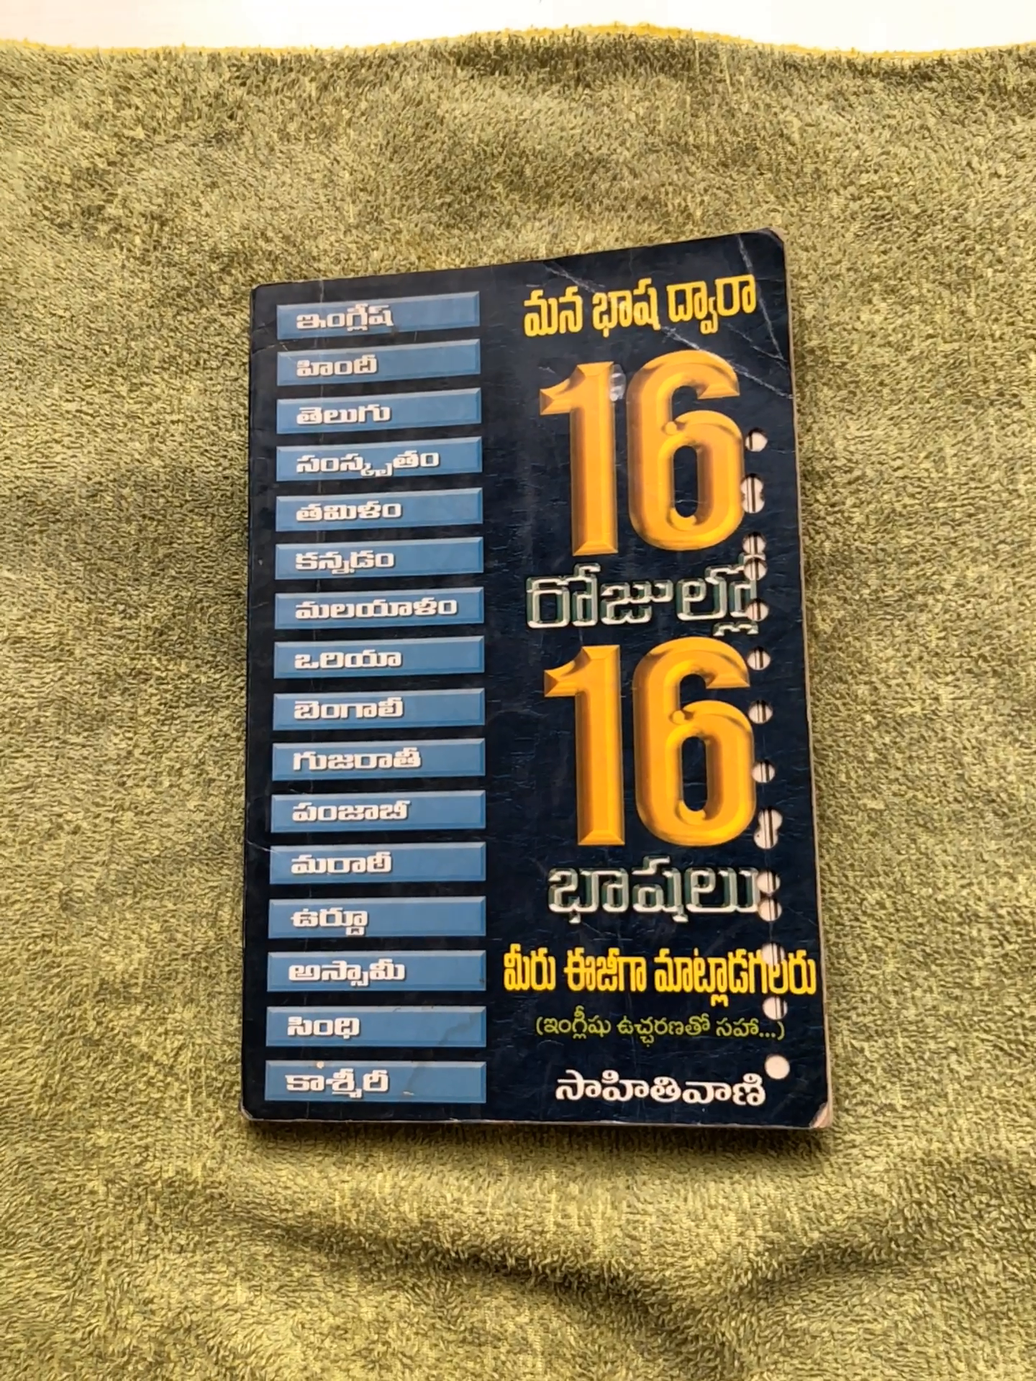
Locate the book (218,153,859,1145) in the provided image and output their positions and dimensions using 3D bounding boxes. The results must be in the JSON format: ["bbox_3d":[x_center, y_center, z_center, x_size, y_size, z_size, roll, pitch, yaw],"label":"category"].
[{"bbox_3d":[0.002,-0.011,0.280,0.140,0.030,0.220,-2,82,10],"label":"book"}]
